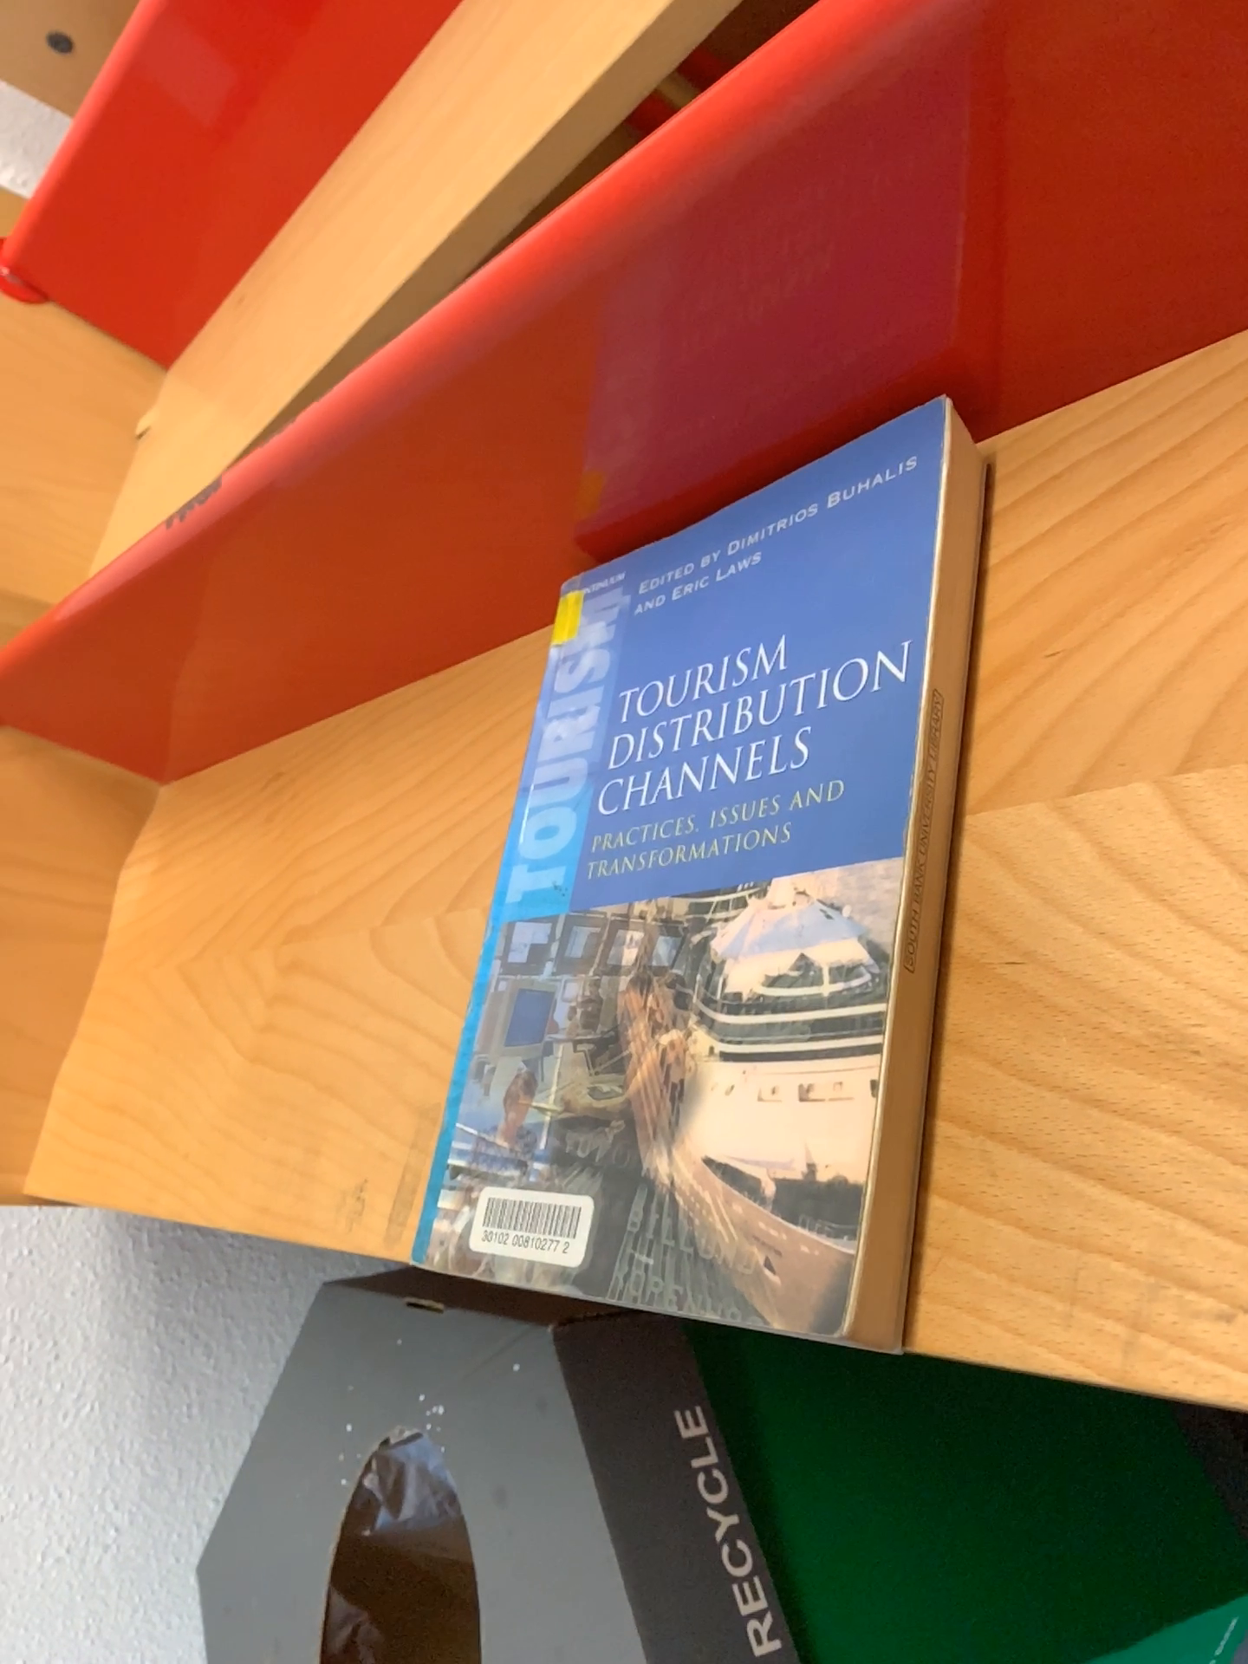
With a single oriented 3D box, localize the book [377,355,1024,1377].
[{"bbox_3d":[0.018,0.006,0.354,0.168,0.030,0.238,-11,61,47],"label":"book"}]
